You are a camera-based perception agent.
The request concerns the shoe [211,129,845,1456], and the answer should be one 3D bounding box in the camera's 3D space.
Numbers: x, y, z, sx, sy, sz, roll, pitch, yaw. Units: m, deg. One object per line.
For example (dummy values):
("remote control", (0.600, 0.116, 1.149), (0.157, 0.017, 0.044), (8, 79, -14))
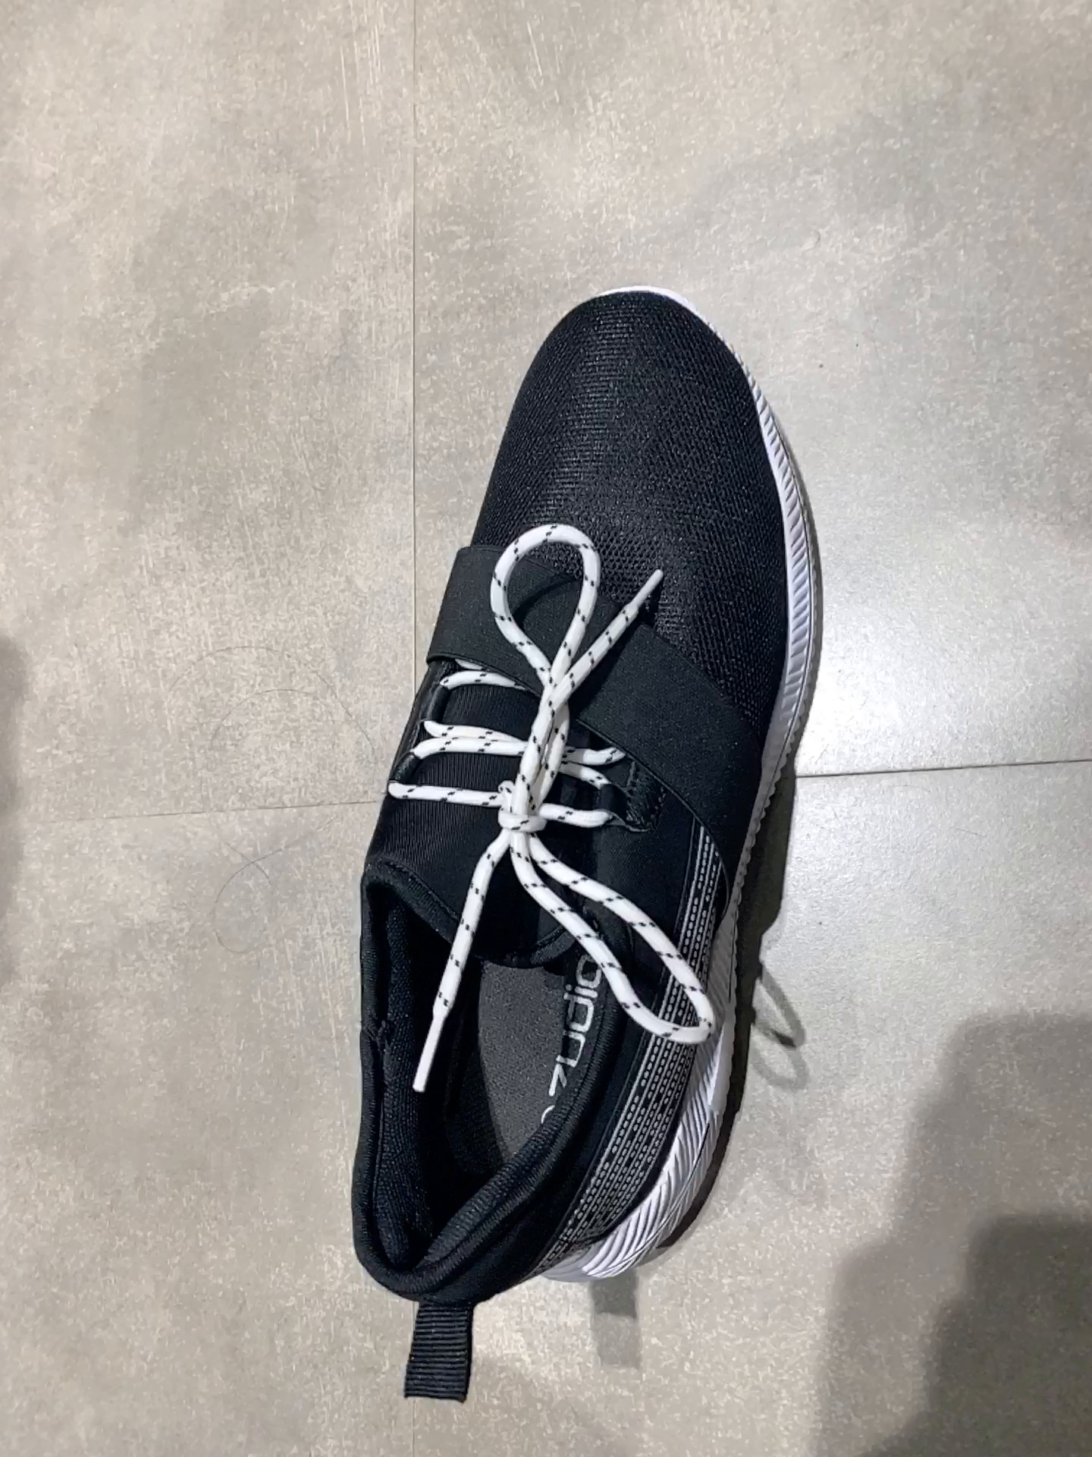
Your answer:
("shoe", (0.012, 0.010, 0.335), (0.116, 0.132, 0.304), (4, 82, 20))
